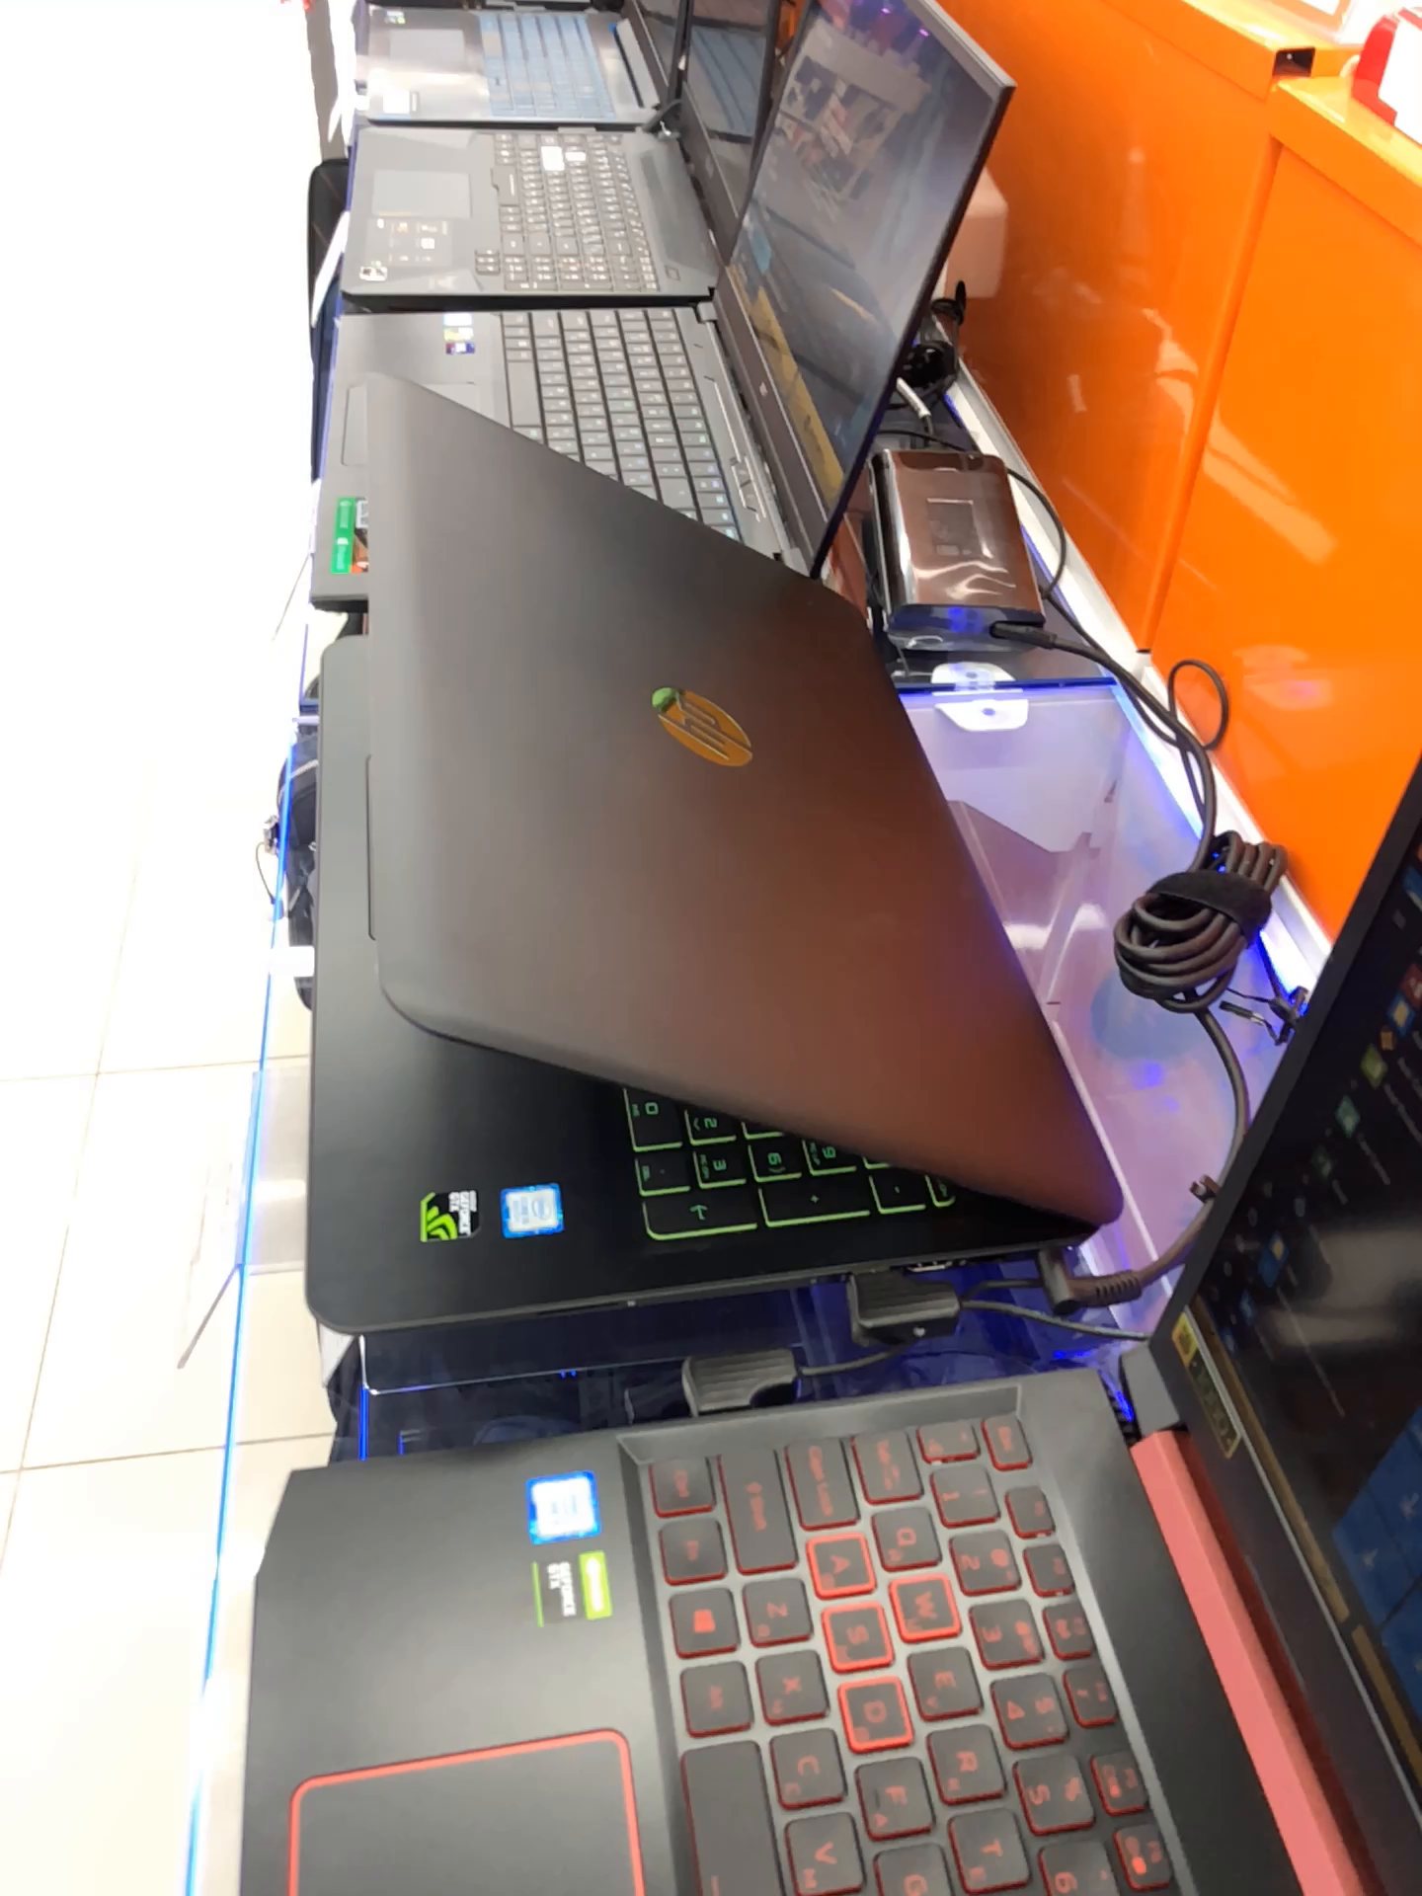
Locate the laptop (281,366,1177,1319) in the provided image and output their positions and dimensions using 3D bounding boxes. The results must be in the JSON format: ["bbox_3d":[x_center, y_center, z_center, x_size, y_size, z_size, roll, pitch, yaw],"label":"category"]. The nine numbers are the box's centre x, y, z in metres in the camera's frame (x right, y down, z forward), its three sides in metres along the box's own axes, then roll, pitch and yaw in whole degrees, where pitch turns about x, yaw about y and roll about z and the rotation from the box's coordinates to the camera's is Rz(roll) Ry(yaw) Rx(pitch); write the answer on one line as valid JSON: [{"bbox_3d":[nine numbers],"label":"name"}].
[{"bbox_3d":[-0.019,-0.073,0.563,0.227,0.118,0.371,-5,42,-7],"label":"laptop"}]

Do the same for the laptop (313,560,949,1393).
[{"bbox_3d":[-0.063,-0.010,0.864,0.262,0.217,0.413,-4,42,-7],"label":"laptop"}]

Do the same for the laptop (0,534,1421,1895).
[{"bbox_3d":[0.060,0.175,0.194,0.253,0.245,0.411,-8,43,-10],"label":"laptop"}]

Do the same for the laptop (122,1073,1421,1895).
[{"bbox_3d":[-0.002,0.275,0.523,0.274,0.255,0.399,-3,40,-9],"label":"laptop"}]

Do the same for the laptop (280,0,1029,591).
[{"bbox_3d":[-0.050,-0.380,0.825,0.303,0.219,0.342,-4,43,-7],"label":"laptop"}]
